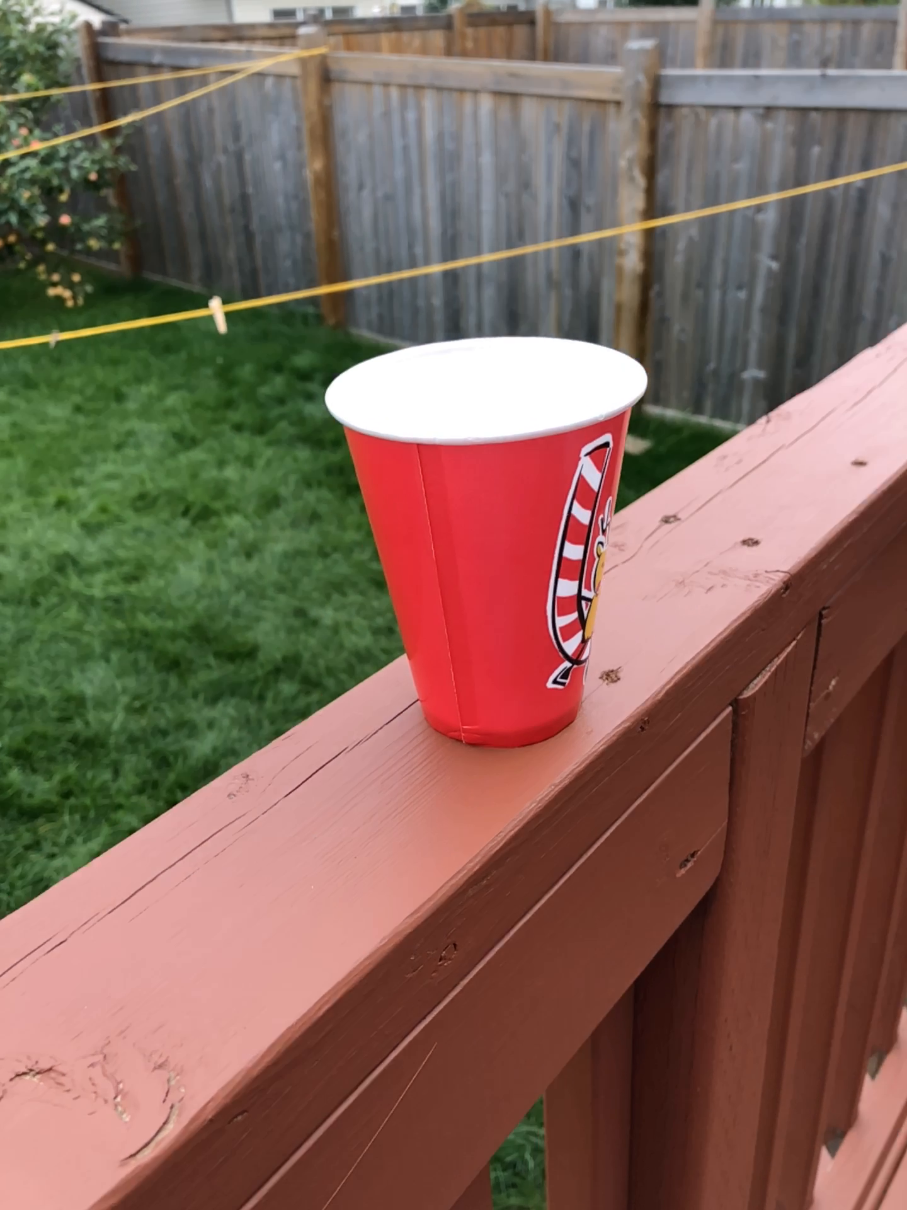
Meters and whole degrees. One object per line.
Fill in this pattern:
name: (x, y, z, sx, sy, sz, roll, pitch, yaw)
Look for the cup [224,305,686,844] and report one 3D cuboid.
cup: (0.007, -0.014, 0.256, 0.080, 0.100, 0.080, -2, 29, 1)
